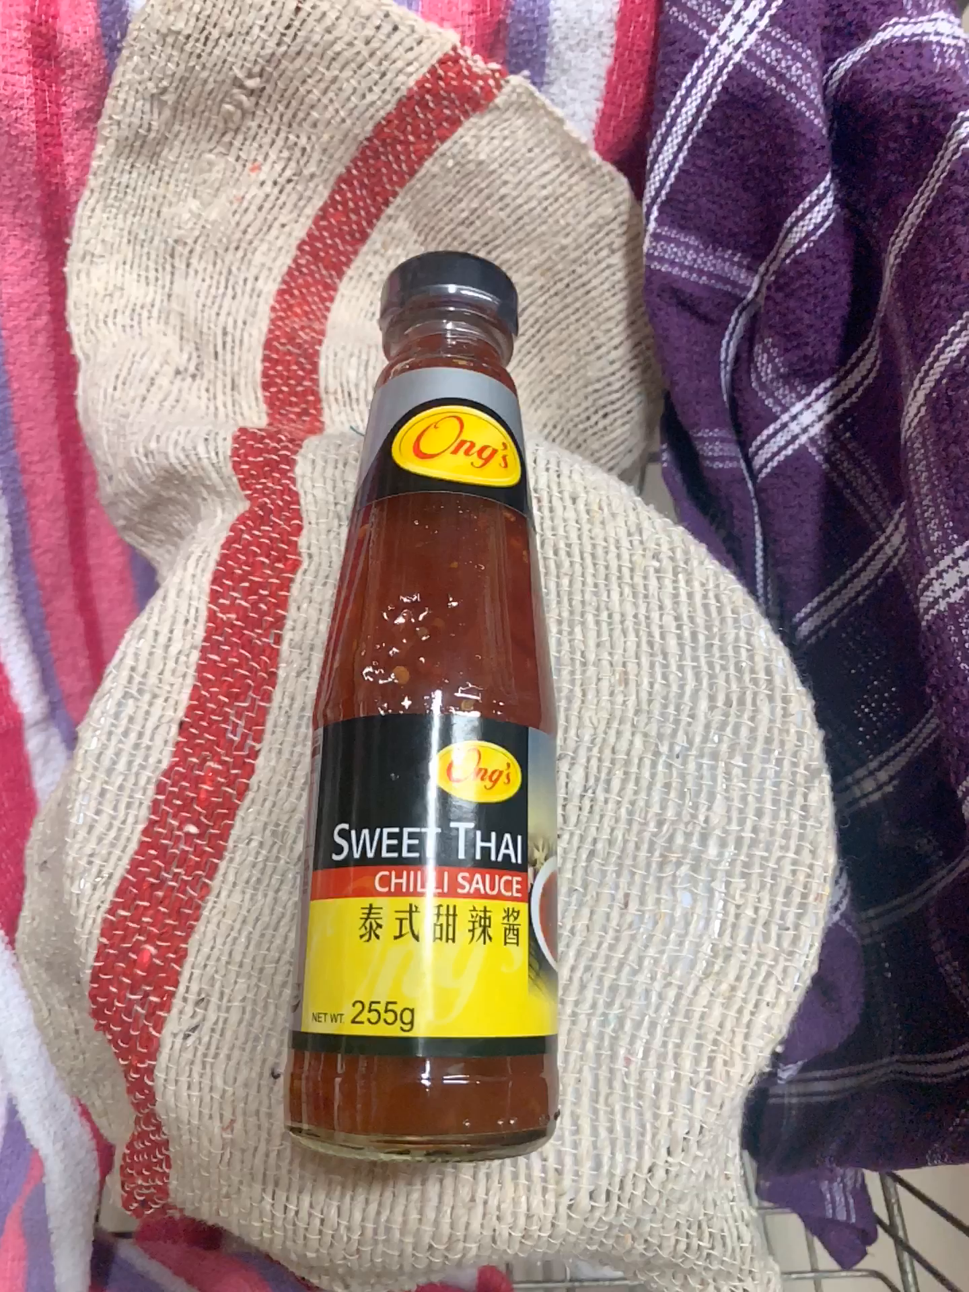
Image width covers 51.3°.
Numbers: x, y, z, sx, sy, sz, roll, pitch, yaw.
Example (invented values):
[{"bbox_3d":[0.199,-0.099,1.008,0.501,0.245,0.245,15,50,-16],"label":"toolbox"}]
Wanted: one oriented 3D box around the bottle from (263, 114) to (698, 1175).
[{"bbox_3d":[0.002,-0.004,0.205,0.060,0.050,0.190,10,73,-18],"label":"bottle"}]
